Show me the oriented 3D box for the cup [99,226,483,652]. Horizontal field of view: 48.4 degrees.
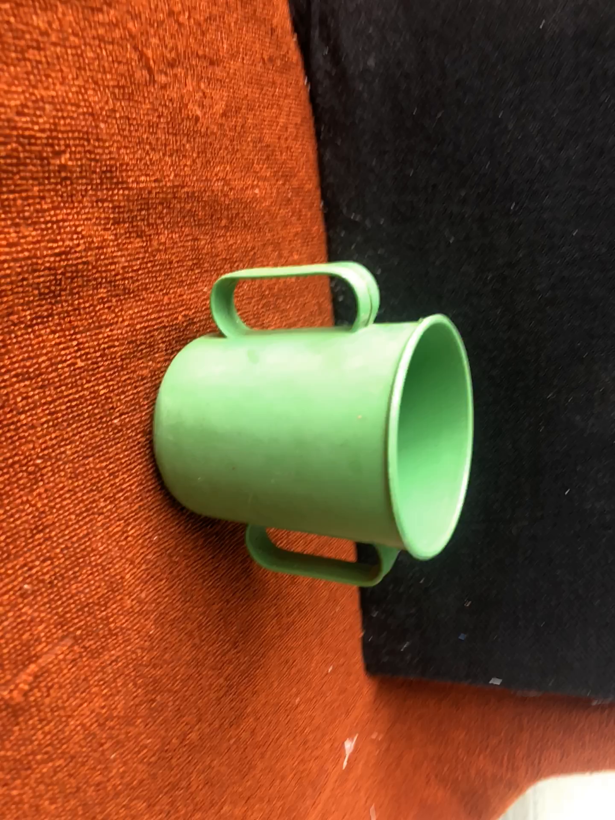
[{"bbox_3d":[0.004,0.002,0.218,0.080,0.079,0.100,-41,129,-54],"label":"cup"}]
